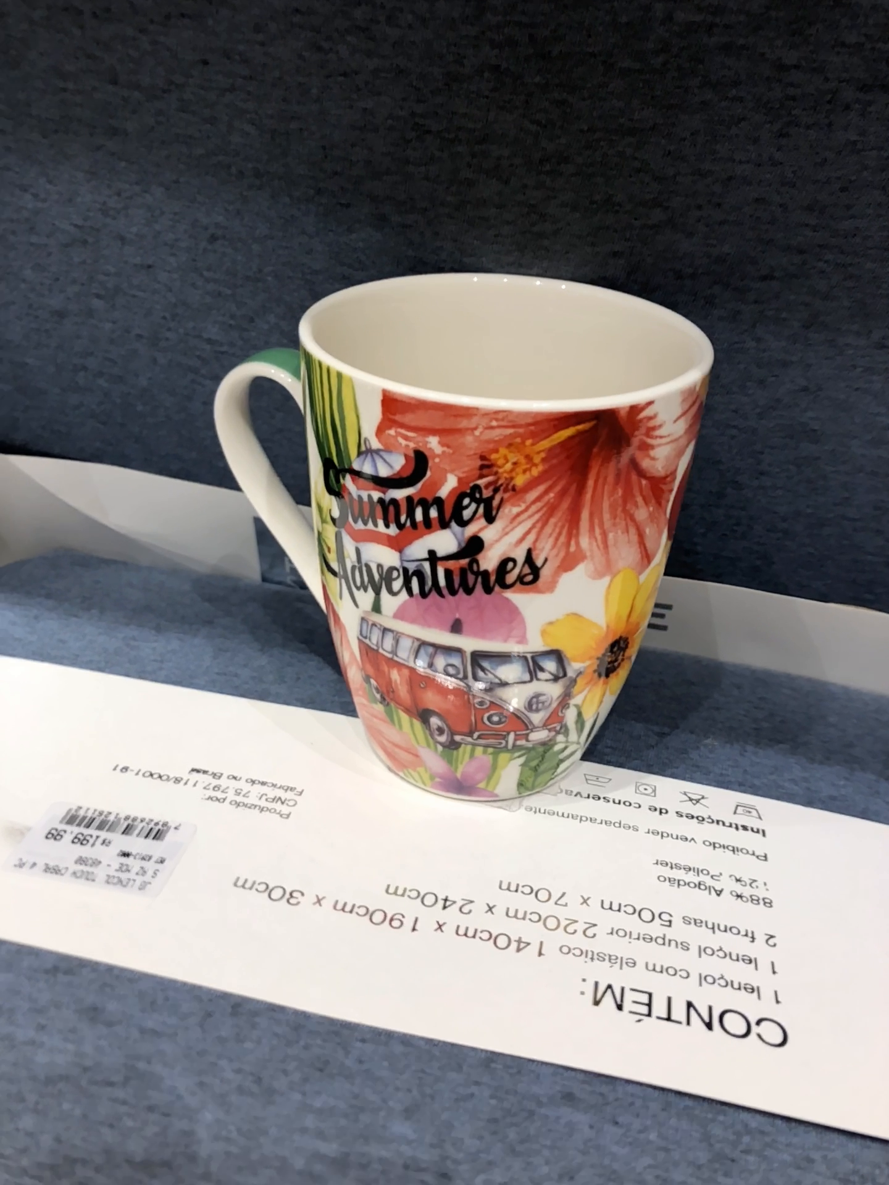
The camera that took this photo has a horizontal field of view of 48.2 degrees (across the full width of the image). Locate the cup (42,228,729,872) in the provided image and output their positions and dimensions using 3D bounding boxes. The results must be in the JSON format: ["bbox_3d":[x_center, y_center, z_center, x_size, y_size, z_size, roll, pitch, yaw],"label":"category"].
[{"bbox_3d":[-0.005,-0.018,0.213,0.110,0.090,0.090,11,29,11],"label":"cup"}]
